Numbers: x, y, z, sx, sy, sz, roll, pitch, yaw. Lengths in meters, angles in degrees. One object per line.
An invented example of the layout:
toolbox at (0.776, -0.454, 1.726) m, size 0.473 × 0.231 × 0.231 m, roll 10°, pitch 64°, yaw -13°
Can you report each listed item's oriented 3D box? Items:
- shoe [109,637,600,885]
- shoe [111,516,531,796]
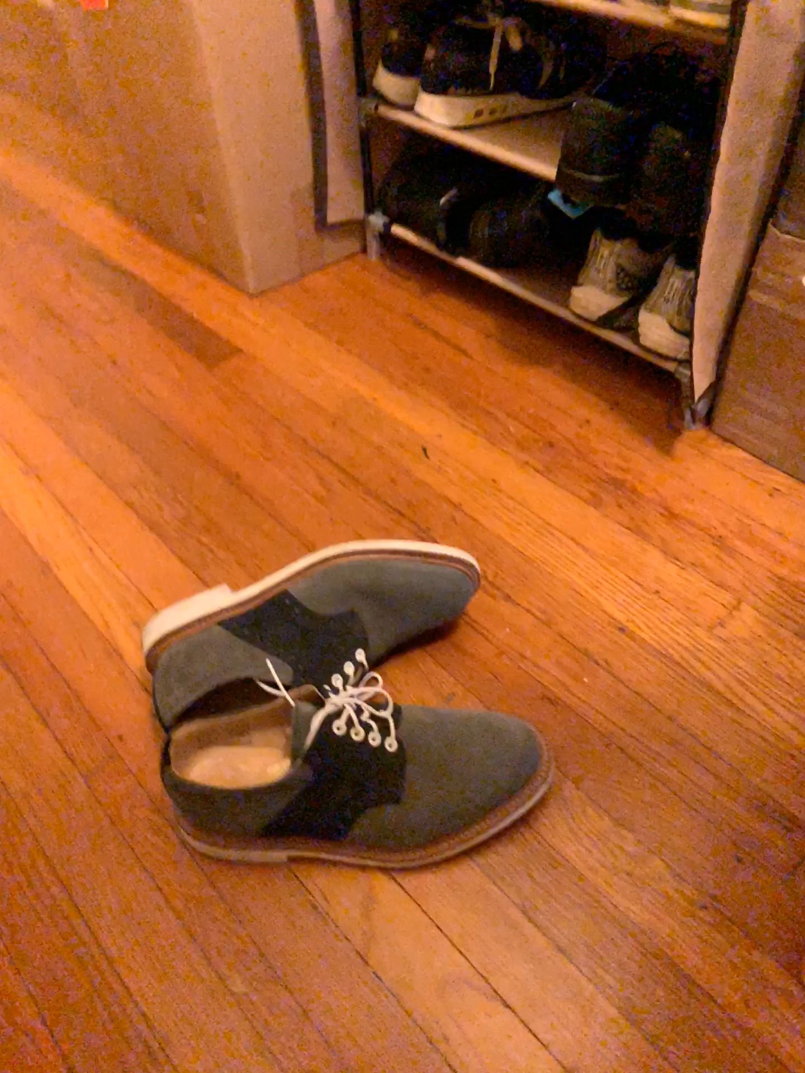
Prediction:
shoe at (-0.030, 0.162, 0.602) m, size 0.310 × 0.099 × 0.131 m, roll -3°, pitch 47°, yaw 1°
shoe at (-0.066, 0.098, 0.691) m, size 0.310 × 0.129 × 0.121 m, roll -11°, pitch 50°, yaw -7°
